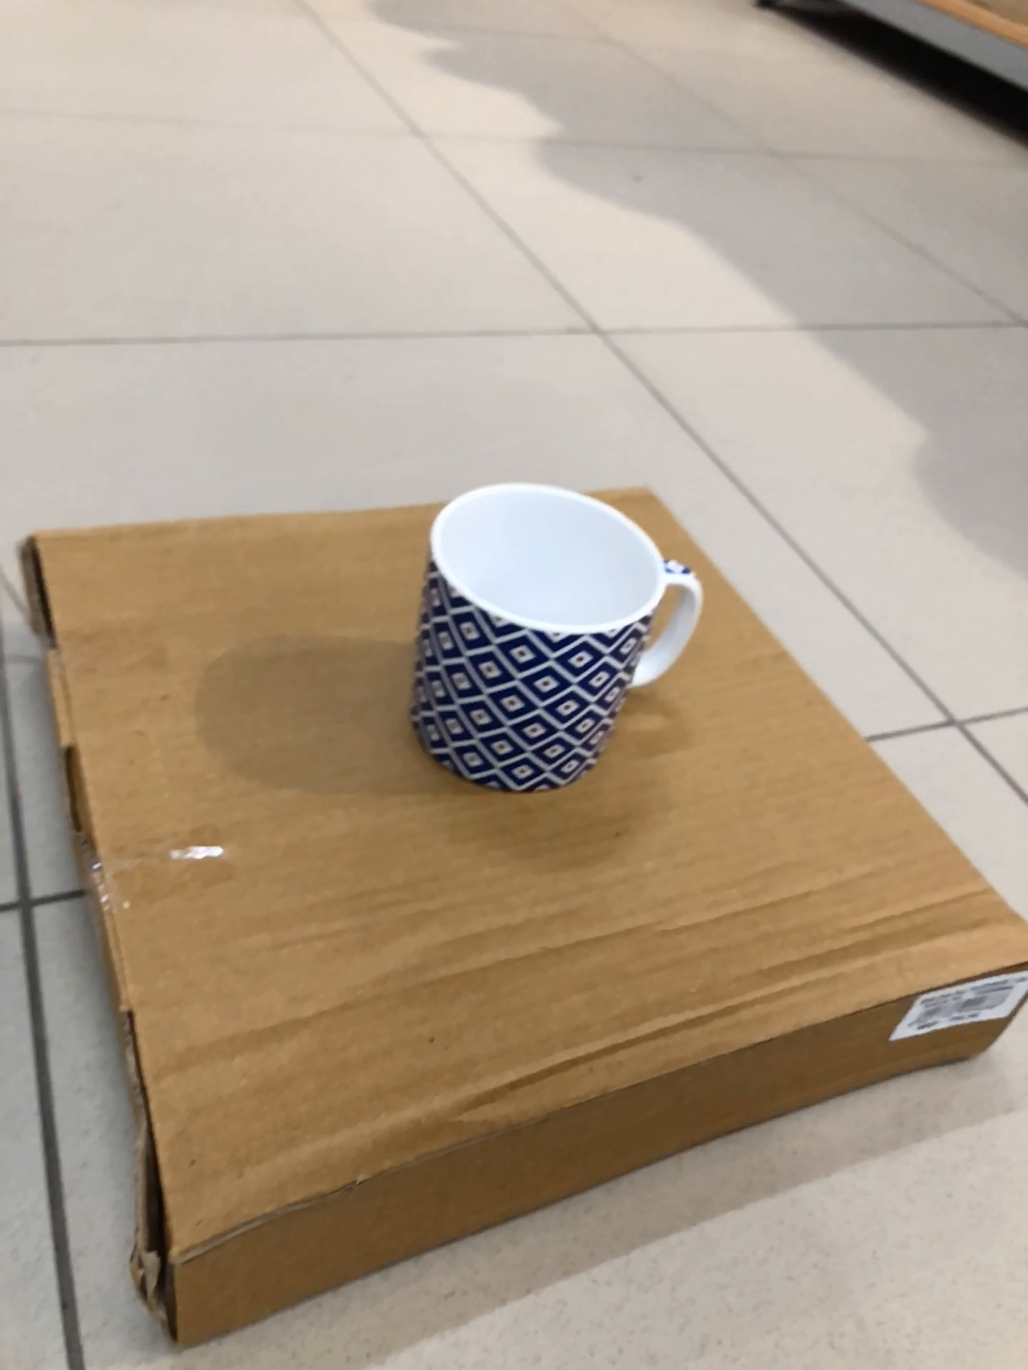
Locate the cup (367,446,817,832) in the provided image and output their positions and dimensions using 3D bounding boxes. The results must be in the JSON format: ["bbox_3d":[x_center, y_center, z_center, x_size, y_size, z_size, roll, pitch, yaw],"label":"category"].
[{"bbox_3d":[0.020,-0.019,0.378,0.110,0.079,0.080,-10,45,-24],"label":"cup"}]
